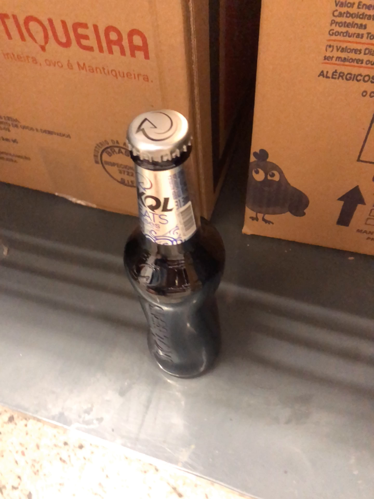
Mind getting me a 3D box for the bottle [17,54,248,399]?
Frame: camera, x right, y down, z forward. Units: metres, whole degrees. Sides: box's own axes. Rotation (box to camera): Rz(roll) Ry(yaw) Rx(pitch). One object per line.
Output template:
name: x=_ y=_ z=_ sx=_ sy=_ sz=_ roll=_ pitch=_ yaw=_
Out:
bottle: x=-0.010 y=0.014 z=0.265 sx=0.070 sy=0.239 sz=0.070 roll=-3 pitch=54 yaw=4
